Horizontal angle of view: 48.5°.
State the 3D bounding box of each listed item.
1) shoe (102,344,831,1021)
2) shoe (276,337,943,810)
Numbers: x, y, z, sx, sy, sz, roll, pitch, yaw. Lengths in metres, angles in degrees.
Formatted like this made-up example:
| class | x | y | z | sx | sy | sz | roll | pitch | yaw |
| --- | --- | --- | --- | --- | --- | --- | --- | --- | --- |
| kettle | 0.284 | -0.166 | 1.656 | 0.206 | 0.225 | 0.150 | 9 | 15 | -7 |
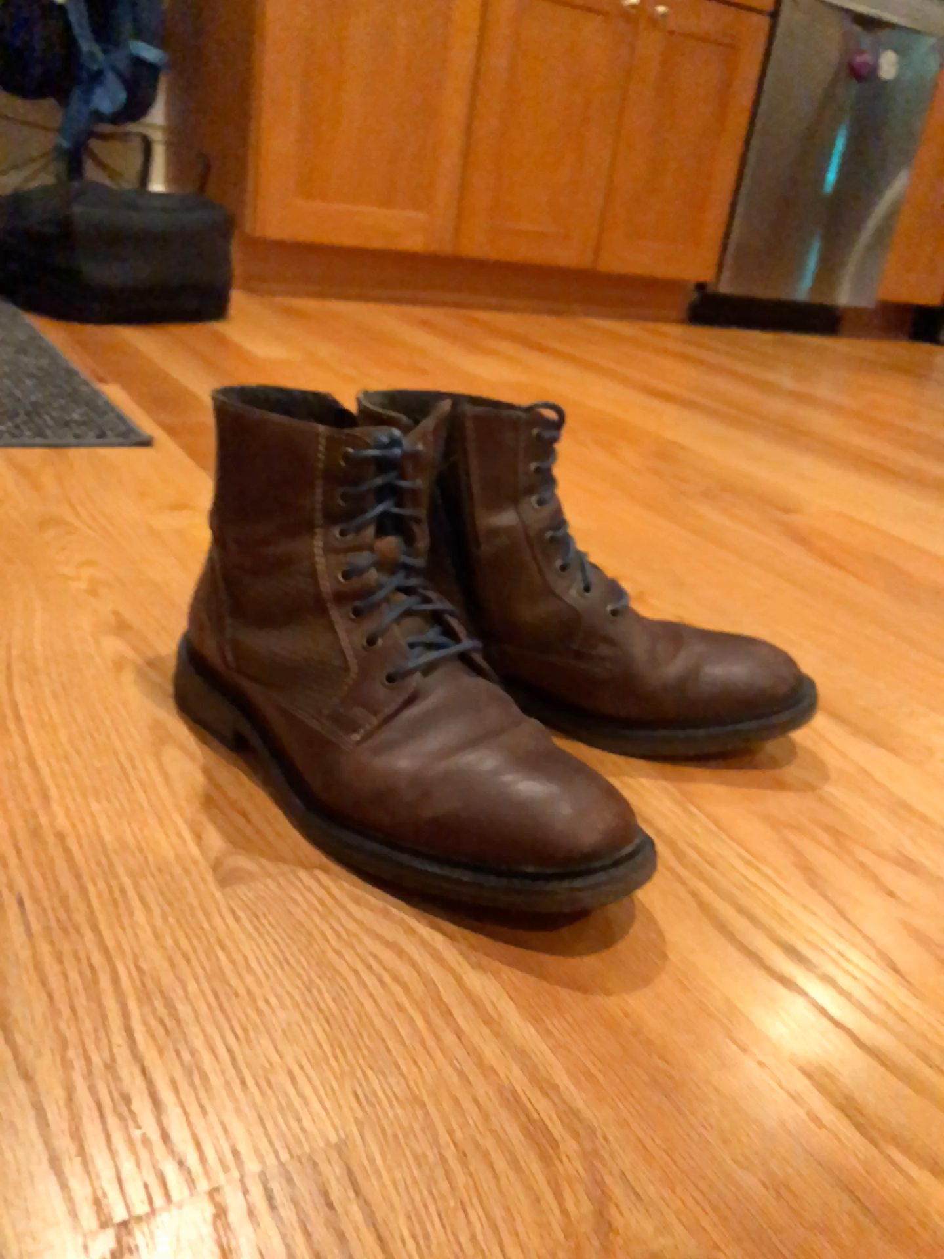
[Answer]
| class | x | y | z | sx | sy | sz | roll | pitch | yaw |
| --- | --- | --- | --- | --- | --- | --- | --- | --- | --- |
| shoe | -0.031 | -0.008 | 0.465 | 0.310 | 0.168 | 0.113 | 27 | 29 | 35 |
| shoe | 0.065 | -0.037 | 0.568 | 0.303 | 0.176 | 0.129 | 9 | 23 | 2 |
